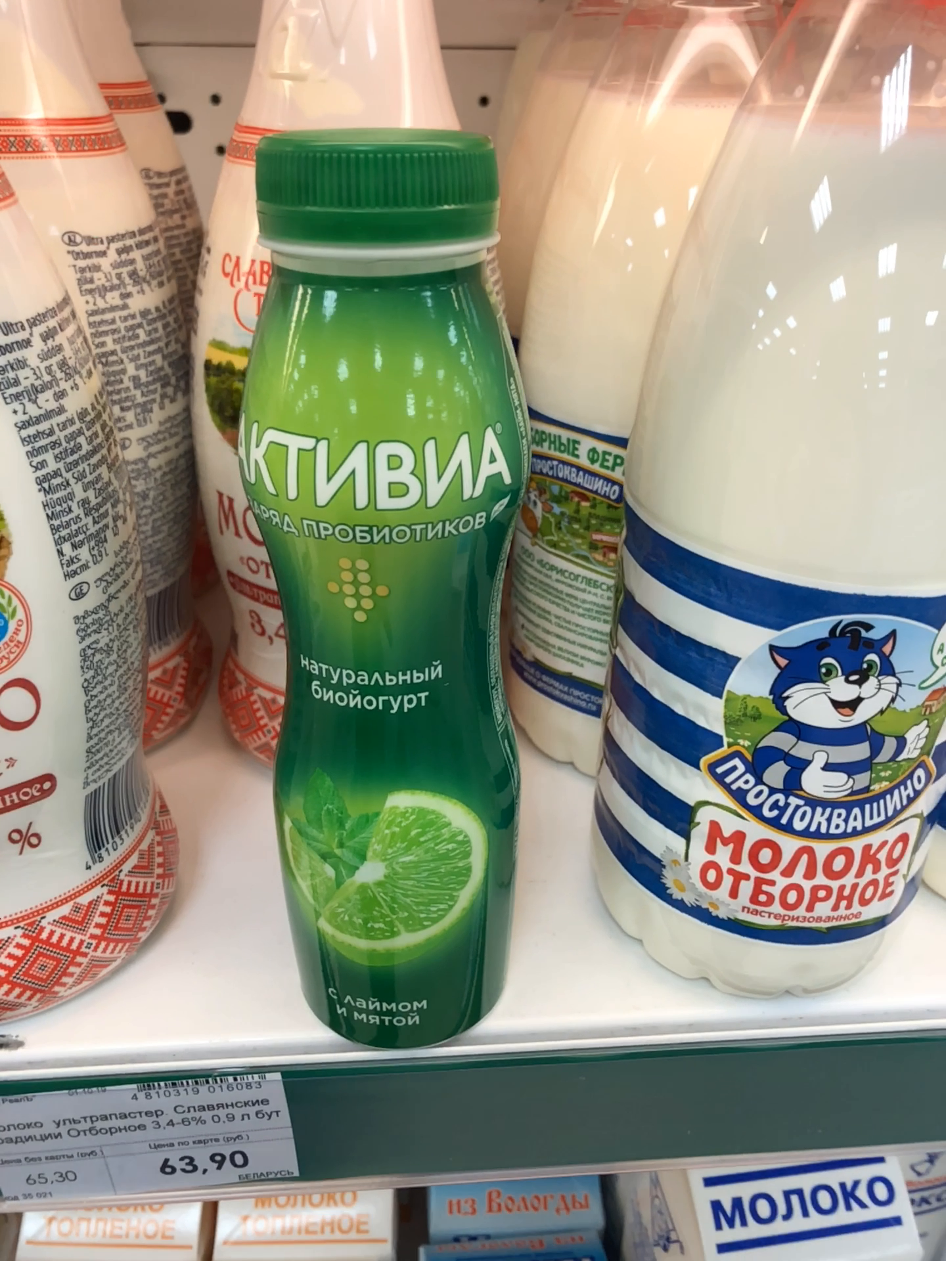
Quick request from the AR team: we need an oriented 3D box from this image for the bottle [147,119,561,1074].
[{"bbox_3d":[-0.016,0.000,0.208,0.053,0.179,0.052,1,28,0],"label":"bottle"}]
